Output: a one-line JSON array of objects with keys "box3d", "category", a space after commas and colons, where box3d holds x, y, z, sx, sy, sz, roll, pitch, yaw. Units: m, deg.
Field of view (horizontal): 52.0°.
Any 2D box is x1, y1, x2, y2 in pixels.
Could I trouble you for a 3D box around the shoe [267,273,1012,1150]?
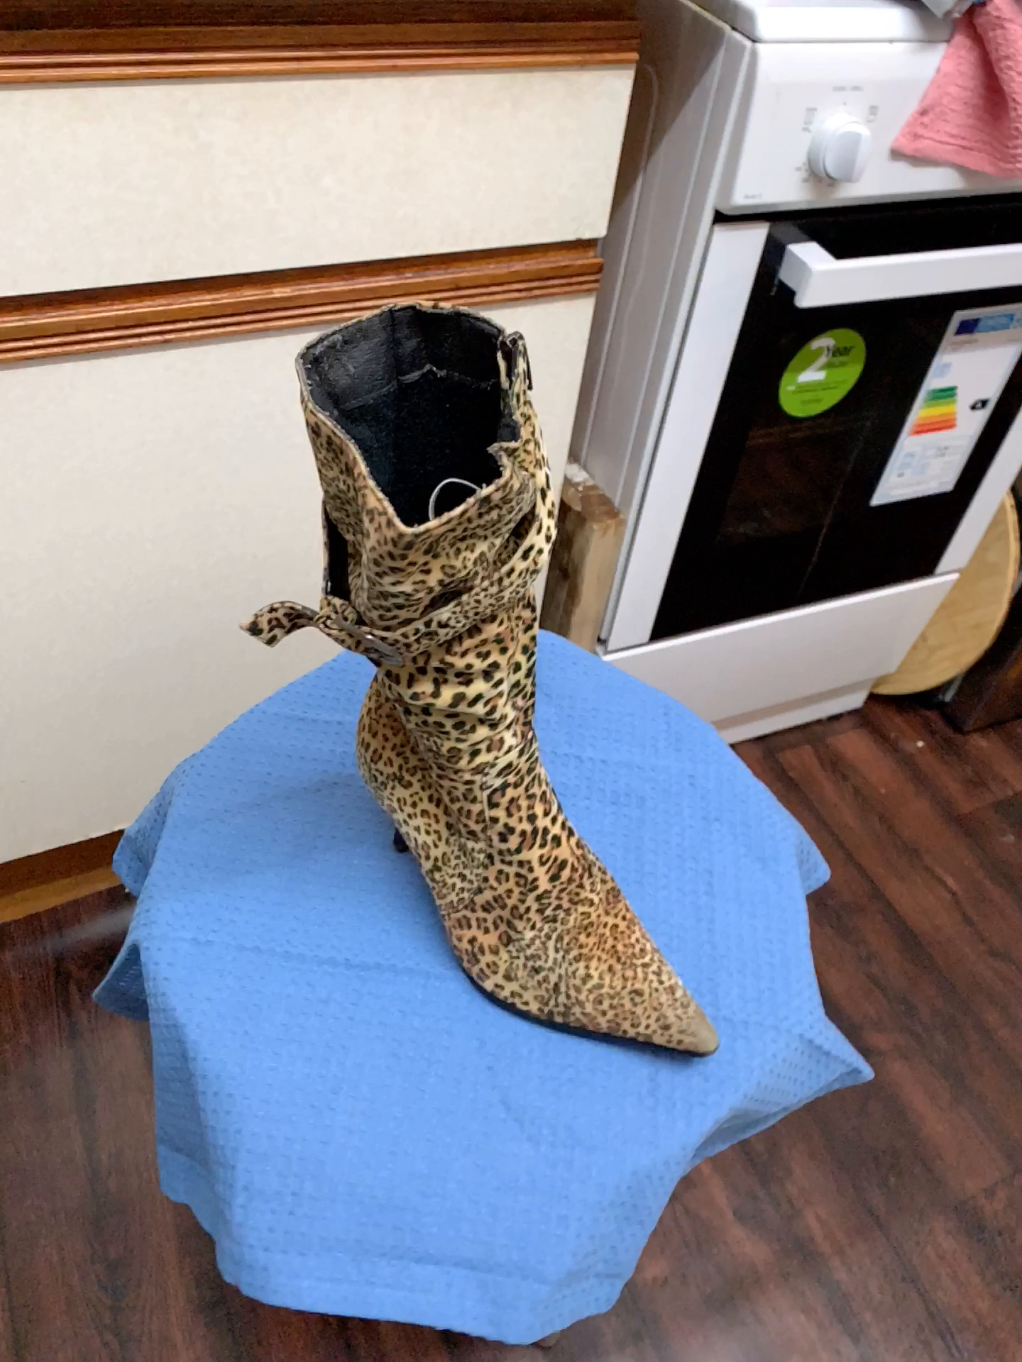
[{"box3d": [0.021, 0.034, 0.503, 0.261, 0.347, 0.101, 33, 50, 21], "category": "shoe"}]
